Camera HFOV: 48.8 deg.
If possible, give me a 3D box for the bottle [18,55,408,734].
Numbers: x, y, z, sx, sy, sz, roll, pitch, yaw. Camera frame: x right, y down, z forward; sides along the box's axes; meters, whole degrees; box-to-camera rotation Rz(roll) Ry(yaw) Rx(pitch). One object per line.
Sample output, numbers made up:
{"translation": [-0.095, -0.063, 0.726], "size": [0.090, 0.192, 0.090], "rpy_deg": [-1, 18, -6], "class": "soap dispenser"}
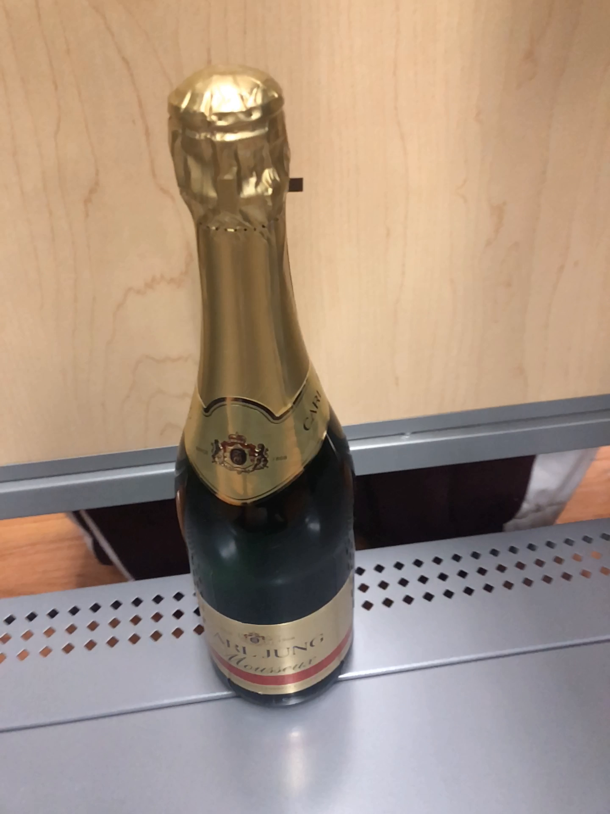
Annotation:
{"translation": [-0.017, 0.019, 0.301], "size": [0.090, 0.298, 0.091], "rpy_deg": [-2, 39, 1], "class": "bottle"}
